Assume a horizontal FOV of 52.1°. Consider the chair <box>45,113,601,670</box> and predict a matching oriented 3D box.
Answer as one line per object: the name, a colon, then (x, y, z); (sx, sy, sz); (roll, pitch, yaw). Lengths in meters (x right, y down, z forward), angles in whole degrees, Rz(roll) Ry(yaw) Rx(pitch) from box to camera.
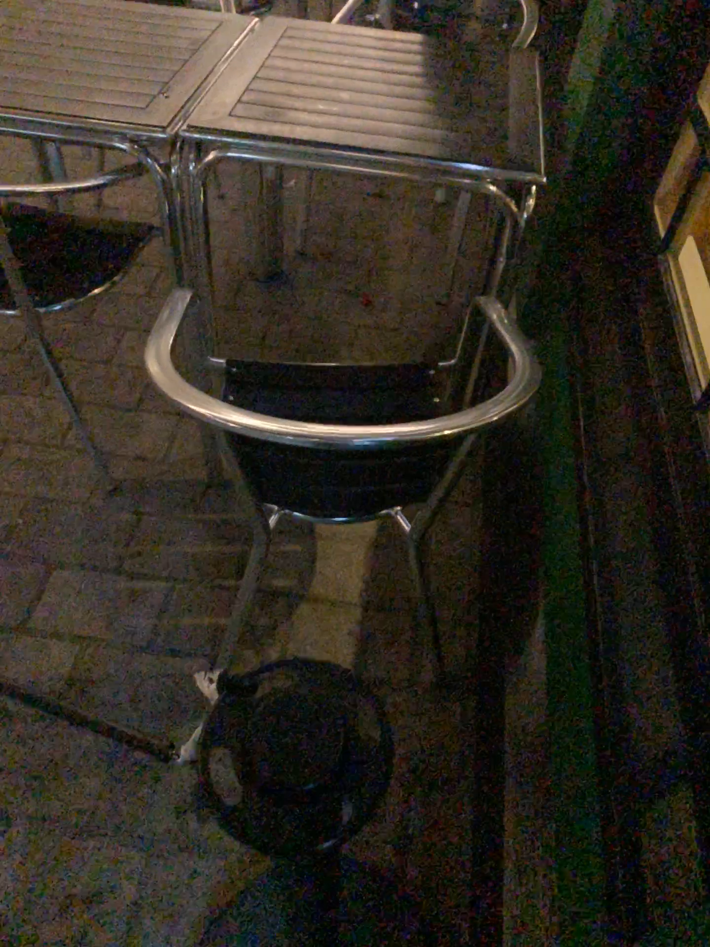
chair: (-0.075, -0.126, 1.370); (0.660, 0.782, 0.656); (0, 48, -6)
